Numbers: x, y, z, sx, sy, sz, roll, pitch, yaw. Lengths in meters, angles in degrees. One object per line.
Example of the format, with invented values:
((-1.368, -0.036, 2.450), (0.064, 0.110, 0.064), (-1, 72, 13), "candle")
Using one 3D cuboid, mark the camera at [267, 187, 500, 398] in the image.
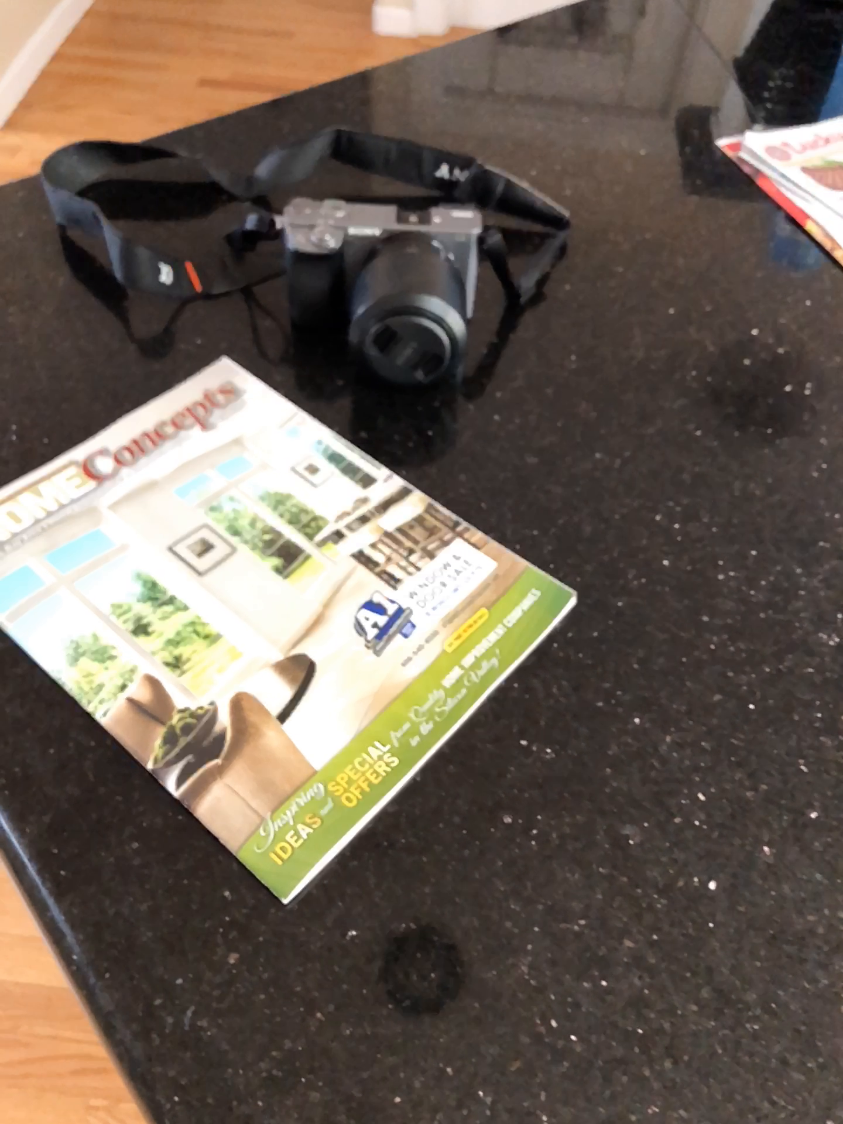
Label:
((-0.021, -0.156, 0.540), (0.120, 0.060, 0.110), (2, 52, -2), "camera")
